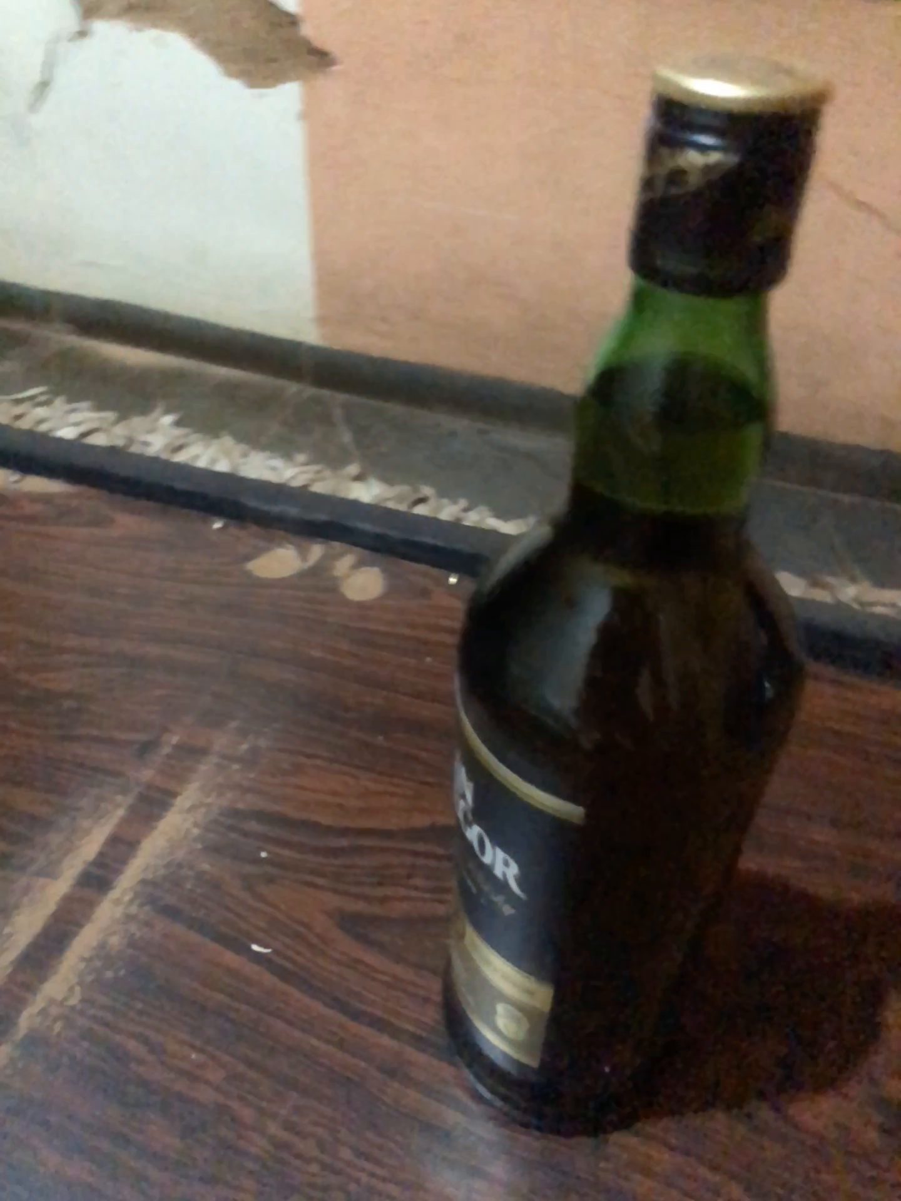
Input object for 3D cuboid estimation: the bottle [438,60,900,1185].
[{"bbox_3d":[0.049,0.040,0.266,0.100,0.308,0.101,1,40,-1],"label":"bottle"}]
